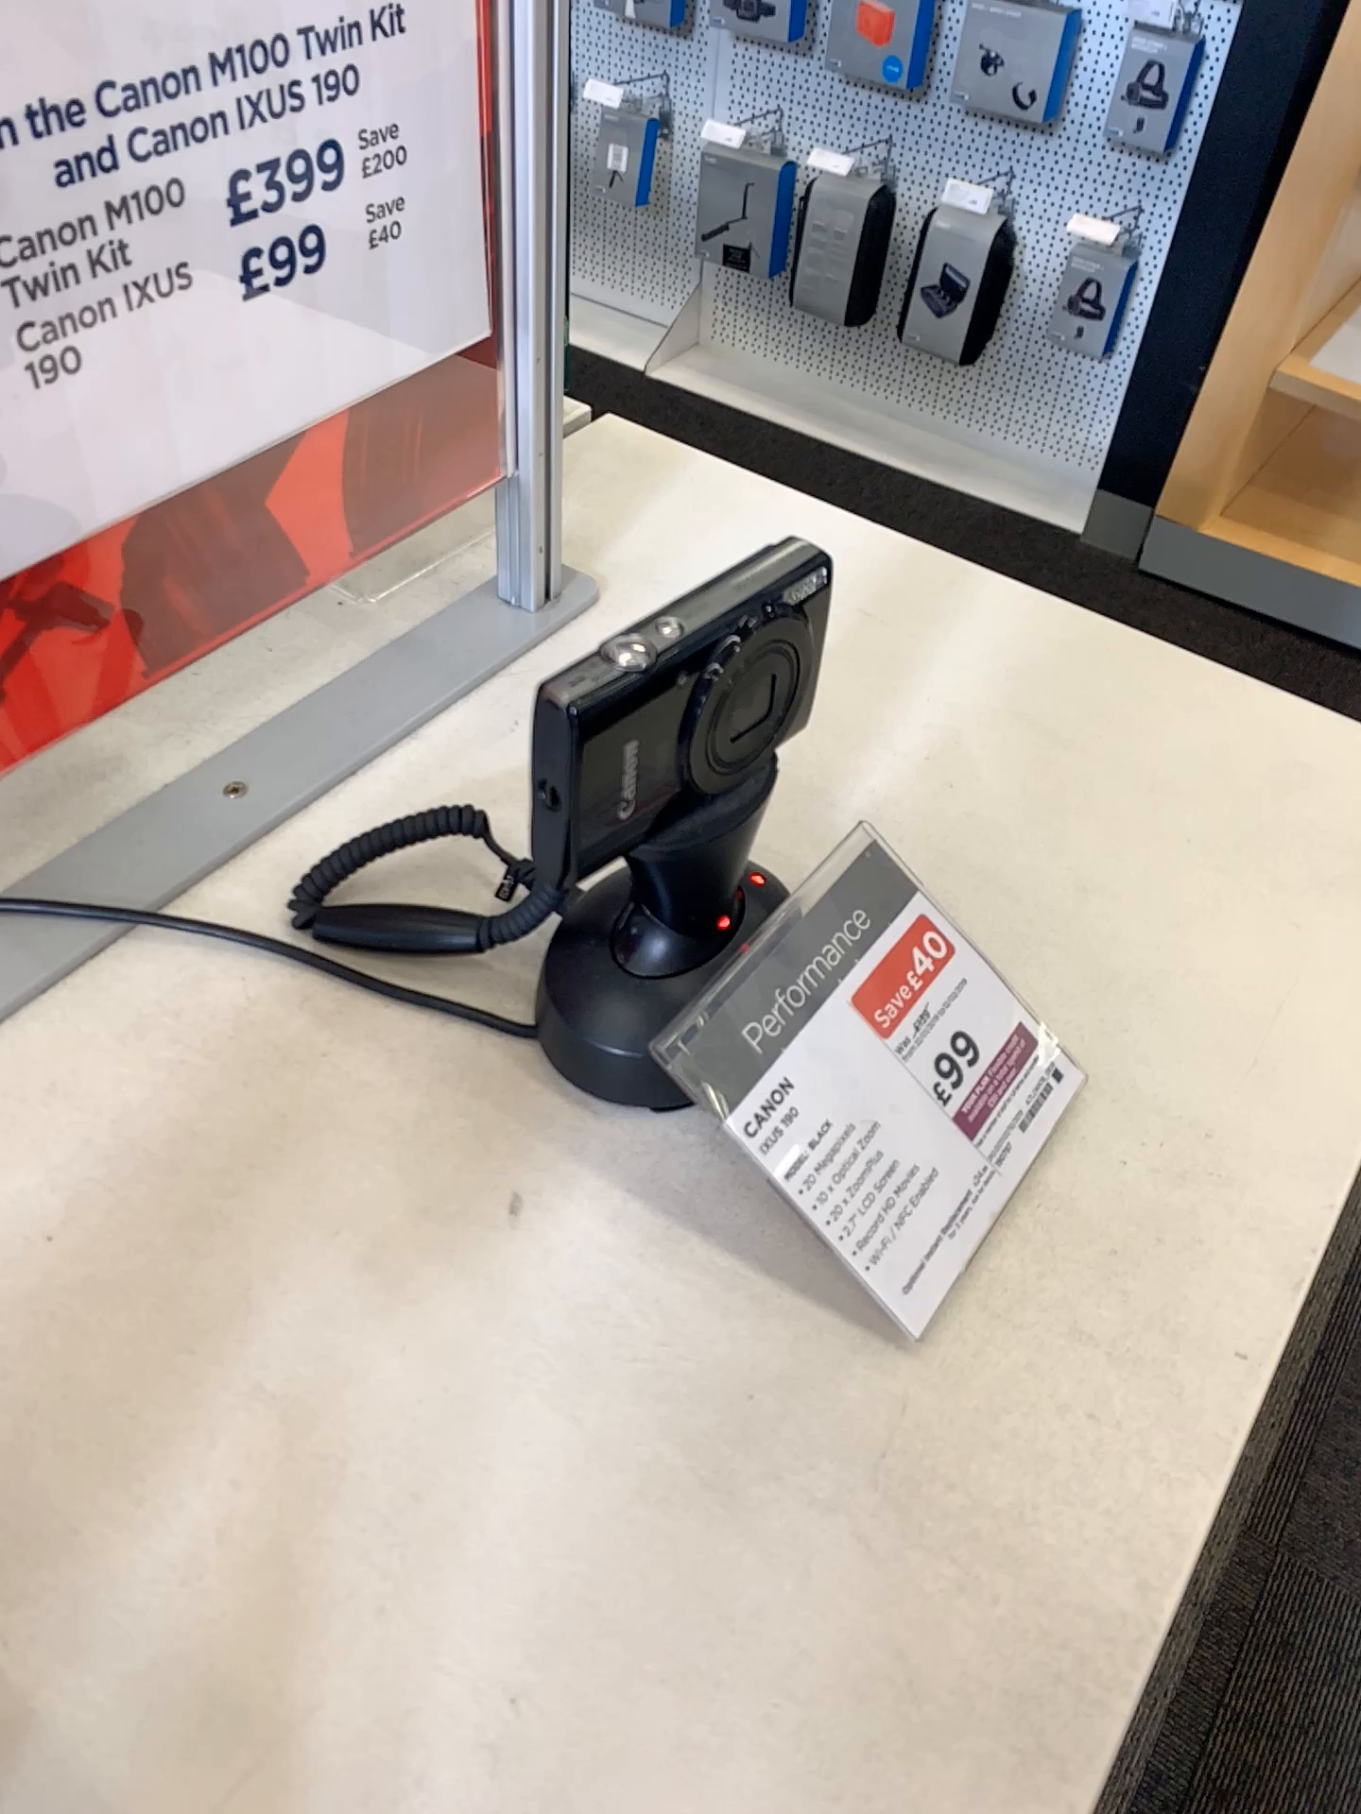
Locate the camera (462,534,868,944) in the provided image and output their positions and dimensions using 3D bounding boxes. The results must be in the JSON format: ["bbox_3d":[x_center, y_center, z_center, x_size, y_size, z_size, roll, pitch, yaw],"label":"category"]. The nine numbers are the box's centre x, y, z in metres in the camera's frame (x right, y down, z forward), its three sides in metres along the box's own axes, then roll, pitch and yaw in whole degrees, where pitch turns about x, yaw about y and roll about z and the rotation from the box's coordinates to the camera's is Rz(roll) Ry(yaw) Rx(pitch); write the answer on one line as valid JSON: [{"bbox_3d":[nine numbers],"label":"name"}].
[{"bbox_3d":[-0.002,-0.042,0.325,0.030,0.050,0.101,35,52,26],"label":"camera"}]
